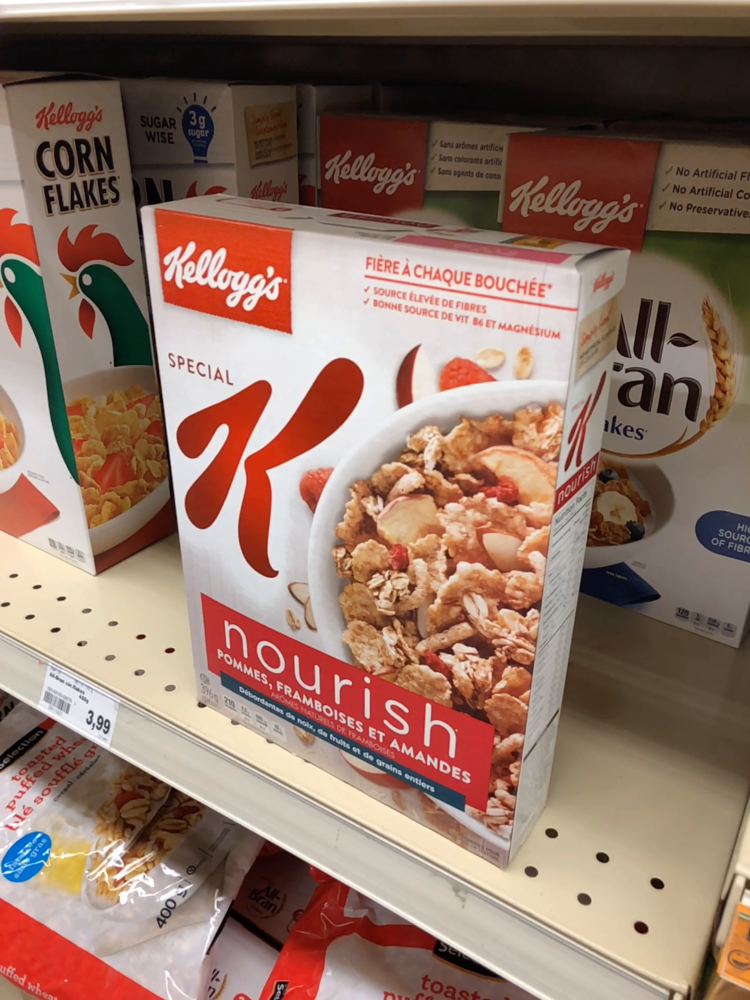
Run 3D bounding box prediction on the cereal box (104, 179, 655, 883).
[{"bbox_3d":[-0.010,0.006,0.353,0.201,0.248,0.060,19,32,31],"label":"cereal box"}]
